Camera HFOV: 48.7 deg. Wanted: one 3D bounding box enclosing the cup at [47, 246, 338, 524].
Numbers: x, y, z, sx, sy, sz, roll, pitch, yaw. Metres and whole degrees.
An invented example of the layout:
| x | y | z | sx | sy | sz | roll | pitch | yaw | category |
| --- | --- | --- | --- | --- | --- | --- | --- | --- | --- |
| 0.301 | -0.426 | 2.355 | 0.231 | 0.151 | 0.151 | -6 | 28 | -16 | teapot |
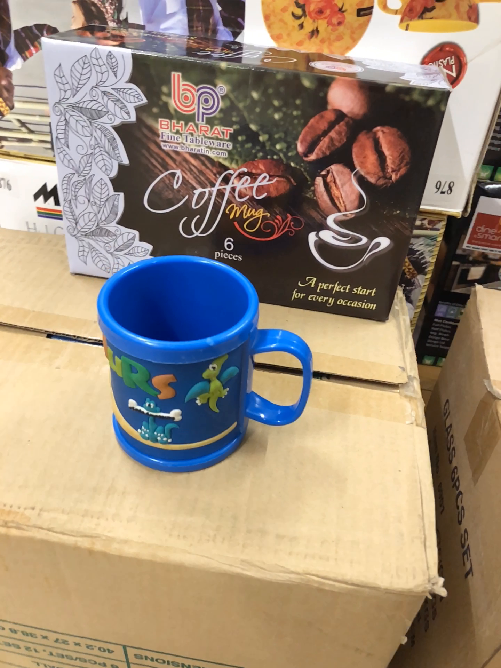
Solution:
| x | y | z | sx | sy | sz | roll | pitch | yaw | category |
| --- | --- | --- | --- | --- | --- | --- | --- | --- | --- |
| -0.025 | 0.024 | 0.302 | 0.120 | 0.089 | 0.091 | 12 | 40 | 9 | cup |
